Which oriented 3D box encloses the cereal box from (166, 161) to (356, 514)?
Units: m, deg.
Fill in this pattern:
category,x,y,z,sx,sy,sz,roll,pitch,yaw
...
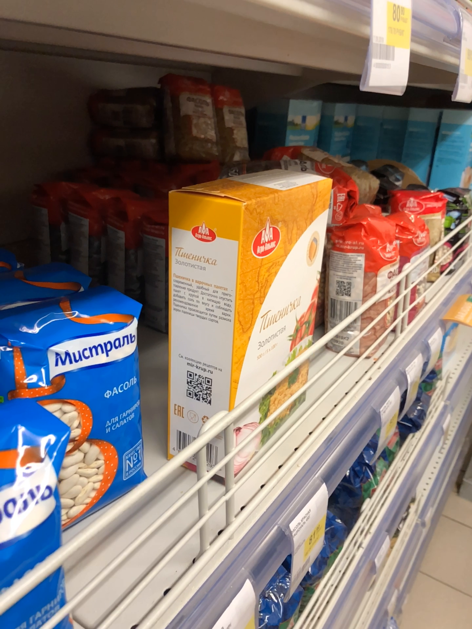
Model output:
category,x,y,z,sx,sy,sz,roll,pitch,yaw
cereal box,0.019,0.005,0.363,0.060,0.199,0.141,15,26,26
